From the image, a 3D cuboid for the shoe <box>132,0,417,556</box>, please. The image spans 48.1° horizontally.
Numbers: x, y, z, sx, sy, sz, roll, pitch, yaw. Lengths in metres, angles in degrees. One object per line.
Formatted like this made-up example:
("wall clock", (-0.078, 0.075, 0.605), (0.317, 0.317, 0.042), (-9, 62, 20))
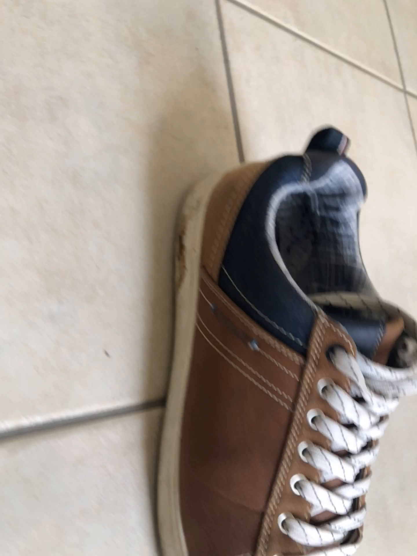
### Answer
("shoe", (0.037, 0.037, 0.251), (0.101, 0.119, 0.320), (11, 71, -38))
